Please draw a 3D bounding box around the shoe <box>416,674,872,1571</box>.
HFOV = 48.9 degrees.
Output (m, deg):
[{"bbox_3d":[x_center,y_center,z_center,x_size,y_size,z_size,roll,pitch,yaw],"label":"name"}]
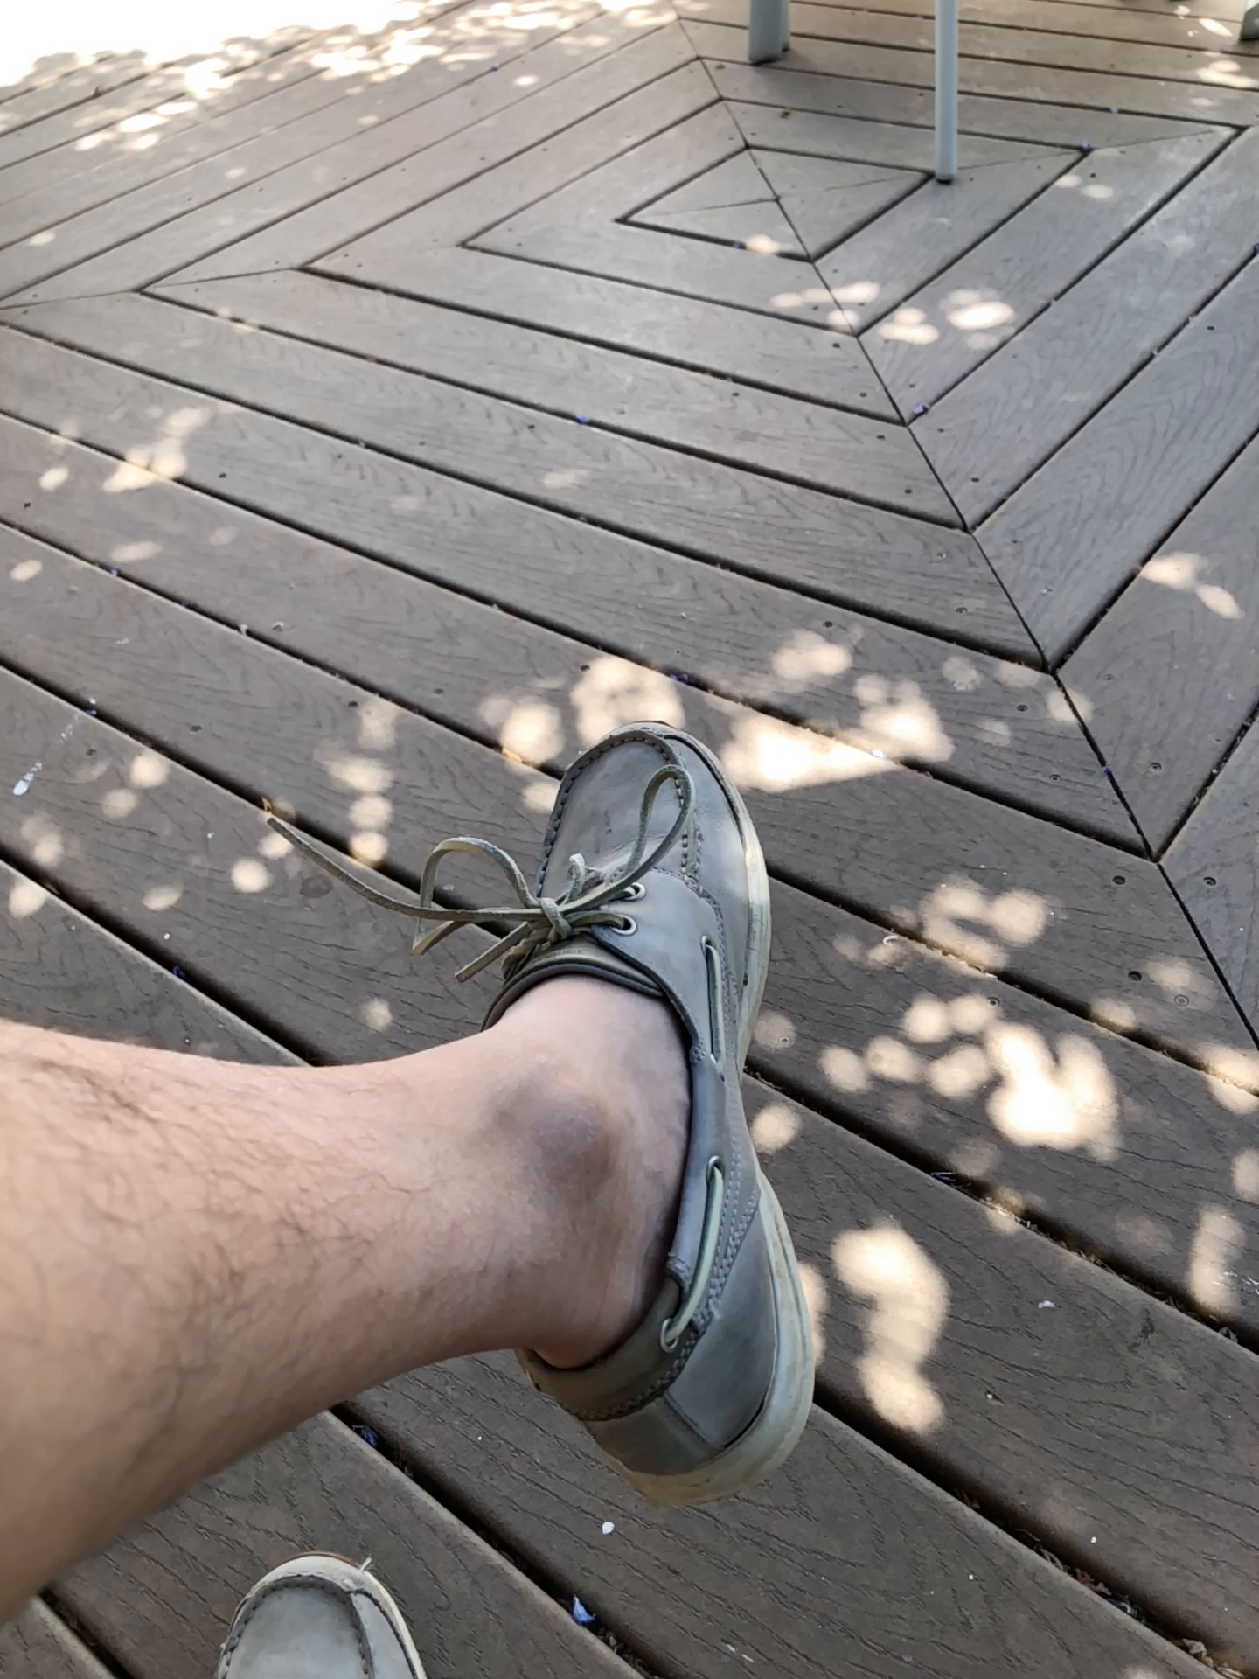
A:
[{"bbox_3d":[0.005,0.092,0.550,0.110,0.092,0.324,-31,38,29],"label":"shoe"}]
